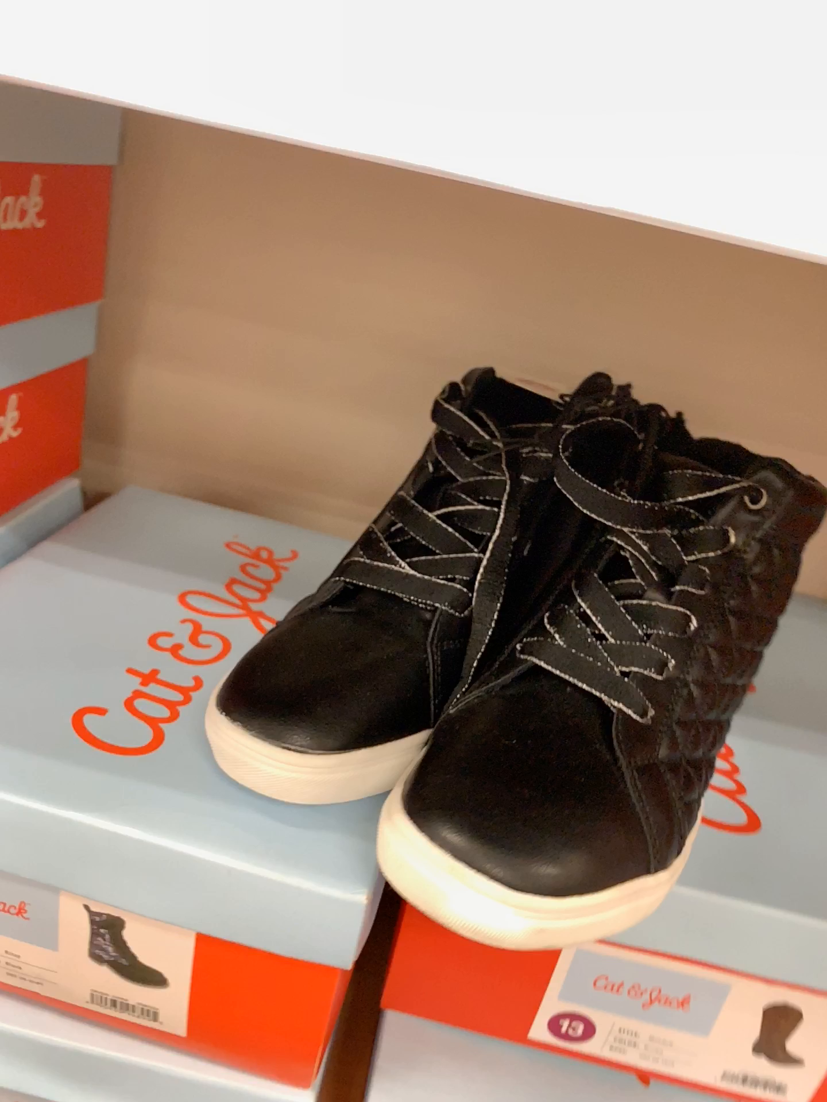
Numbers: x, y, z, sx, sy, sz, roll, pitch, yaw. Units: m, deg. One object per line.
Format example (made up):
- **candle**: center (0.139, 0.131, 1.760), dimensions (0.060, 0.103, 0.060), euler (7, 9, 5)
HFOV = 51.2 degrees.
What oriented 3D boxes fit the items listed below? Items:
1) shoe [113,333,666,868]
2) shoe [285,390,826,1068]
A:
- **shoe**: center (0.005, -0.007, 0.356), dimensions (0.100, 0.119, 0.231), euler (24, 29, 24)
- **shoe**: center (0.074, 0.027, 0.303), dimensions (0.100, 0.109, 0.231), euler (24, 29, 24)
